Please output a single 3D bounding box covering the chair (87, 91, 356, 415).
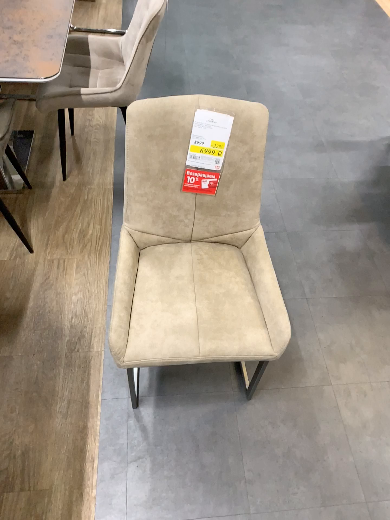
[{"bbox_3d":[-0.001,0.038,1.273,0.510,0.889,0.585,-3,53,-7],"label":"chair"}]

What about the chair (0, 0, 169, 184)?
[{"bbox_3d":[-0.454,-0.854,1.961,0.624,0.843,0.482,-1,53,-6],"label":"chair"}]
